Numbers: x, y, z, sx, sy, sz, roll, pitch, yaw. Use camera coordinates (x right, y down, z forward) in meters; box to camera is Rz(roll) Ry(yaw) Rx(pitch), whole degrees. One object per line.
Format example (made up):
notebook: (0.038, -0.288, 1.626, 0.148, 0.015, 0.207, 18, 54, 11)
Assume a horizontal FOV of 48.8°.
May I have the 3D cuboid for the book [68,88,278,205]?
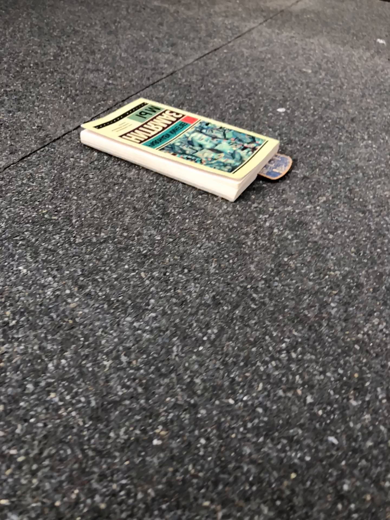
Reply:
book: (-0.020, -0.128, 0.453, 0.182, 0.027, 0.121, 23, 43, 17)
